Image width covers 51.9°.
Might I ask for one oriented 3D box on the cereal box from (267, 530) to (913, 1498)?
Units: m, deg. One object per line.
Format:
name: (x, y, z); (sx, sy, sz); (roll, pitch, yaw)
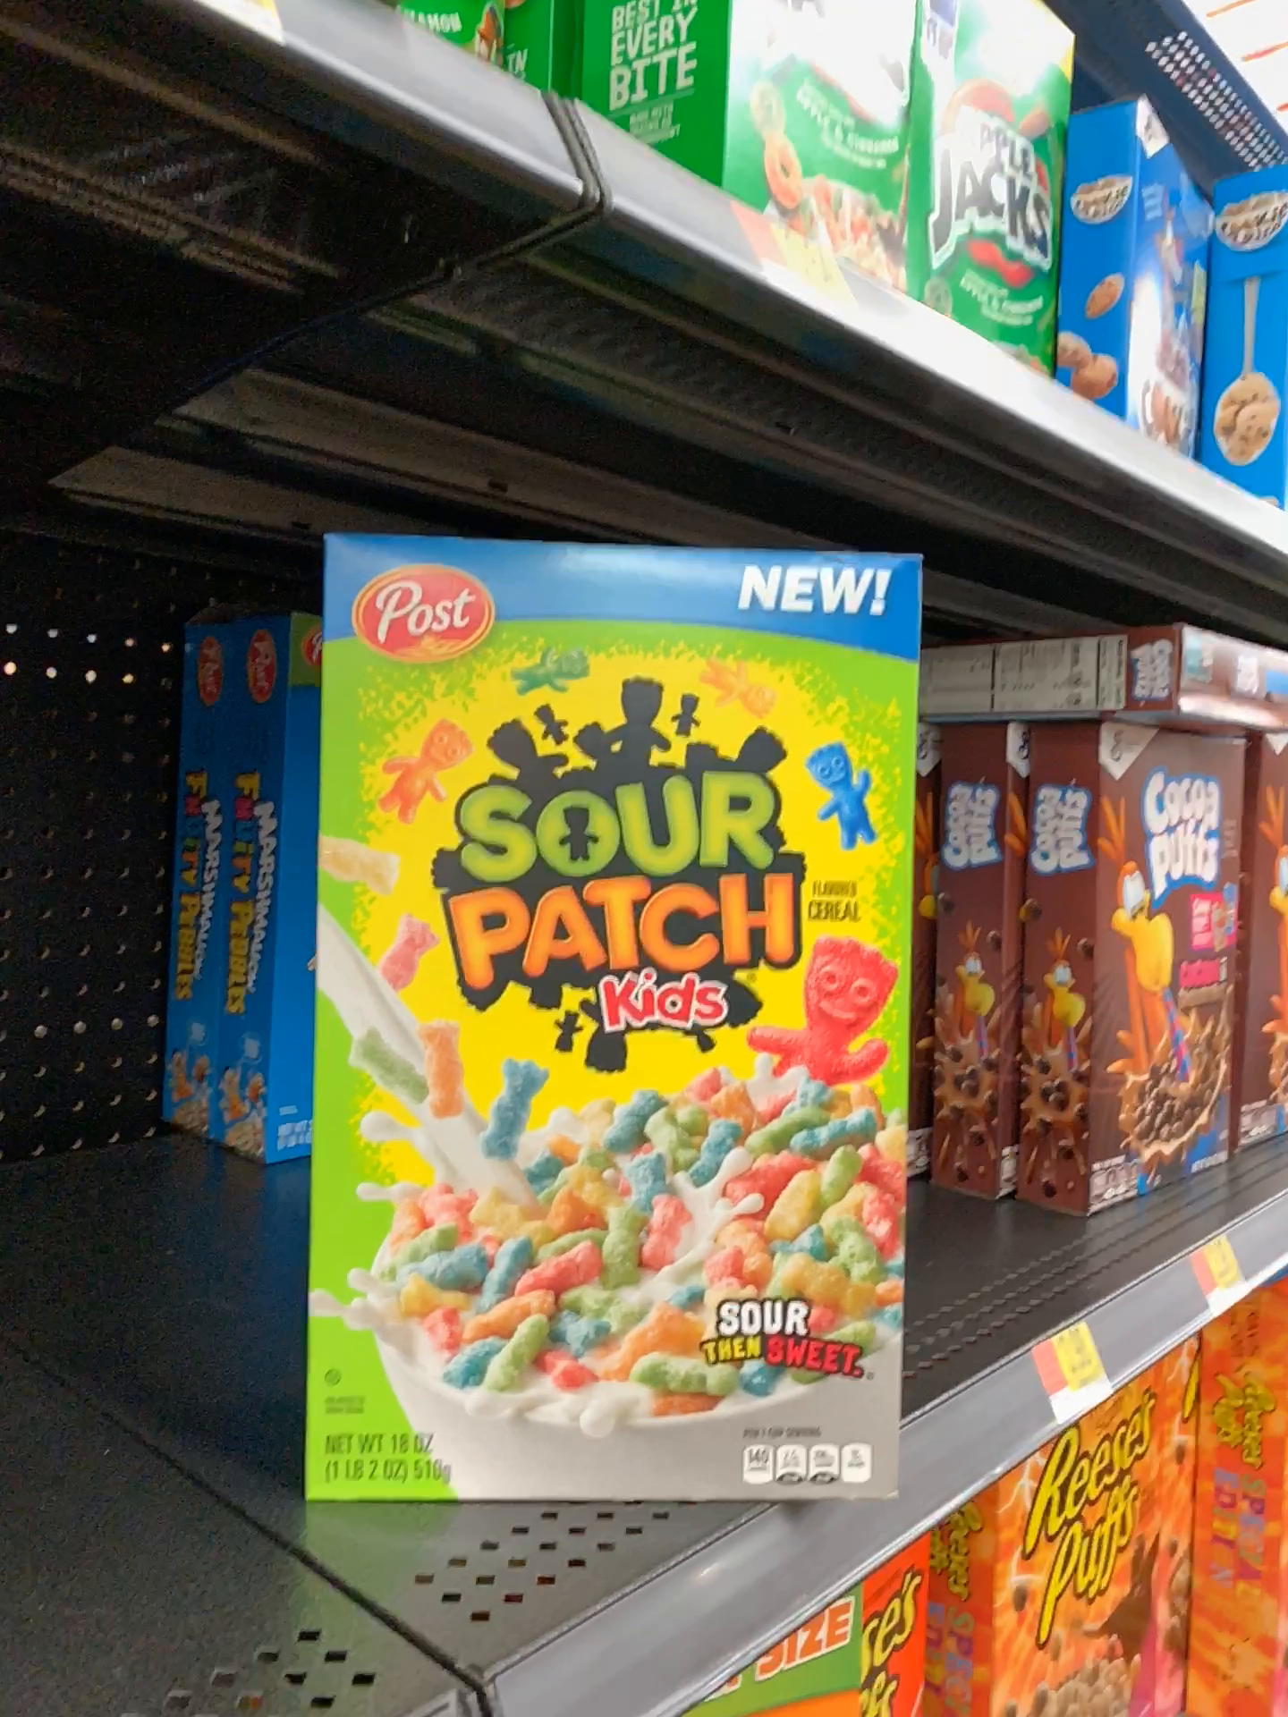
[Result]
cereal box: (-0.020, 0.052, 0.469); (0.200, 0.310, 0.080); (2, 1, -4)
